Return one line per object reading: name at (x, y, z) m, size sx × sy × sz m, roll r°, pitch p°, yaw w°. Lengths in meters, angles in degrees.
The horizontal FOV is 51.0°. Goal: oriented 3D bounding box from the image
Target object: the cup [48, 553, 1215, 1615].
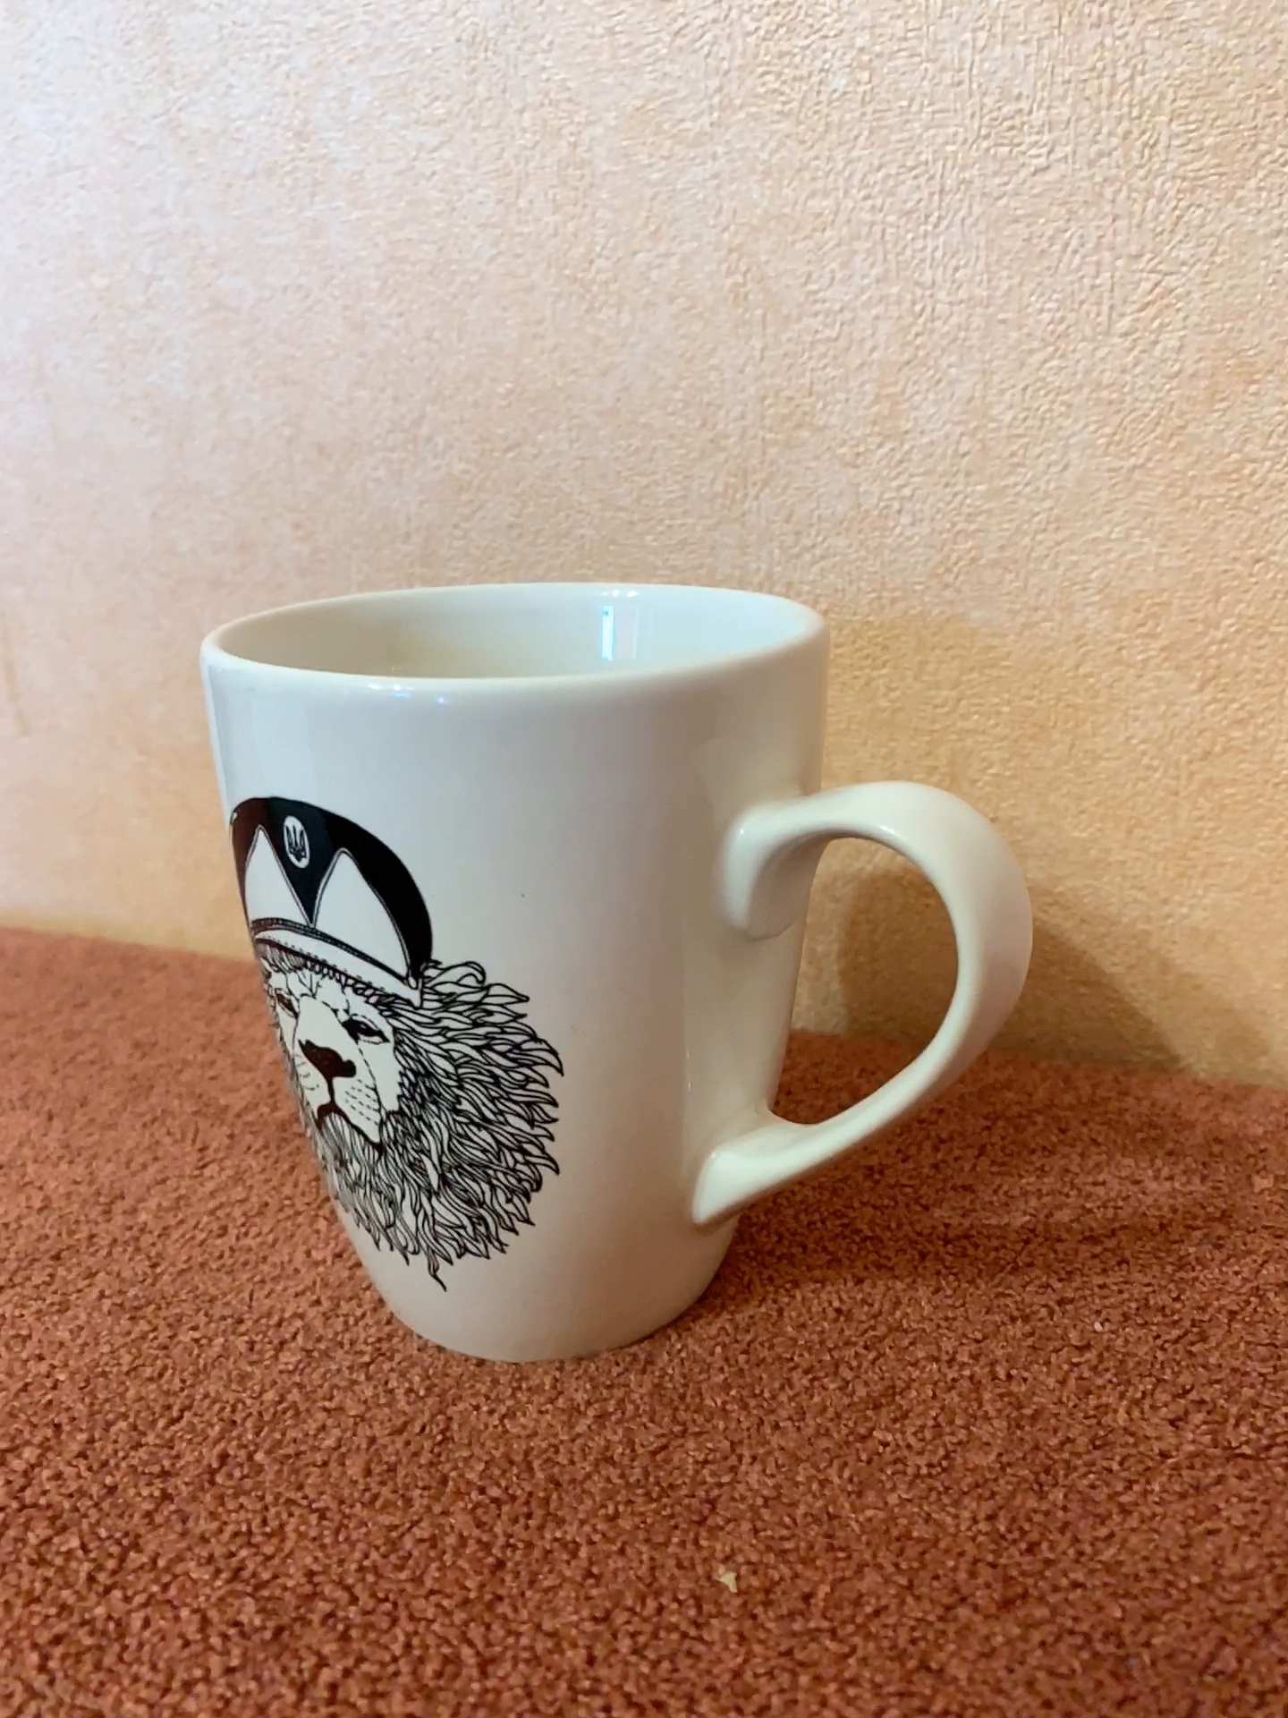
cup at (0.003, 0.010, 0.204) m, size 0.126 × 0.095 × 0.106 m, roll 10°, pitch 23°, yaw 35°
